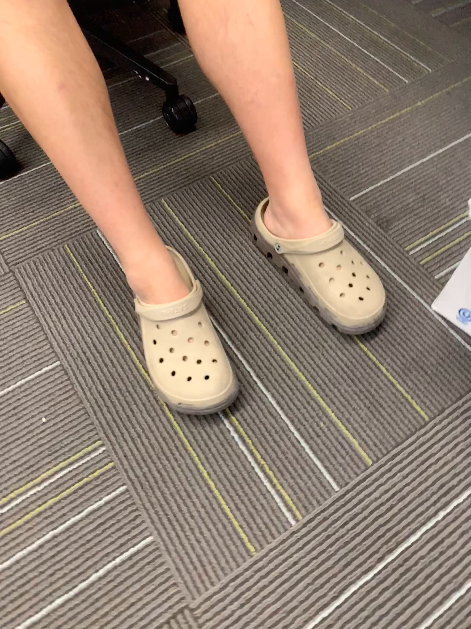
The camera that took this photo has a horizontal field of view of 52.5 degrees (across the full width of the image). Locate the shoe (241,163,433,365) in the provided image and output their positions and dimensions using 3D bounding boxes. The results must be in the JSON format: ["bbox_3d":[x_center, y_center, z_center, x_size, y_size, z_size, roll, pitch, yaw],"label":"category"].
[{"bbox_3d":[0.152,-0.096,0.798,0.140,0.079,0.331,-26,62,-14],"label":"shoe"}]

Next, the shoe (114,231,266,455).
[{"bbox_3d":[-0.077,0.032,0.739,0.134,0.080,0.322,-18,61,-10],"label":"shoe"}]
